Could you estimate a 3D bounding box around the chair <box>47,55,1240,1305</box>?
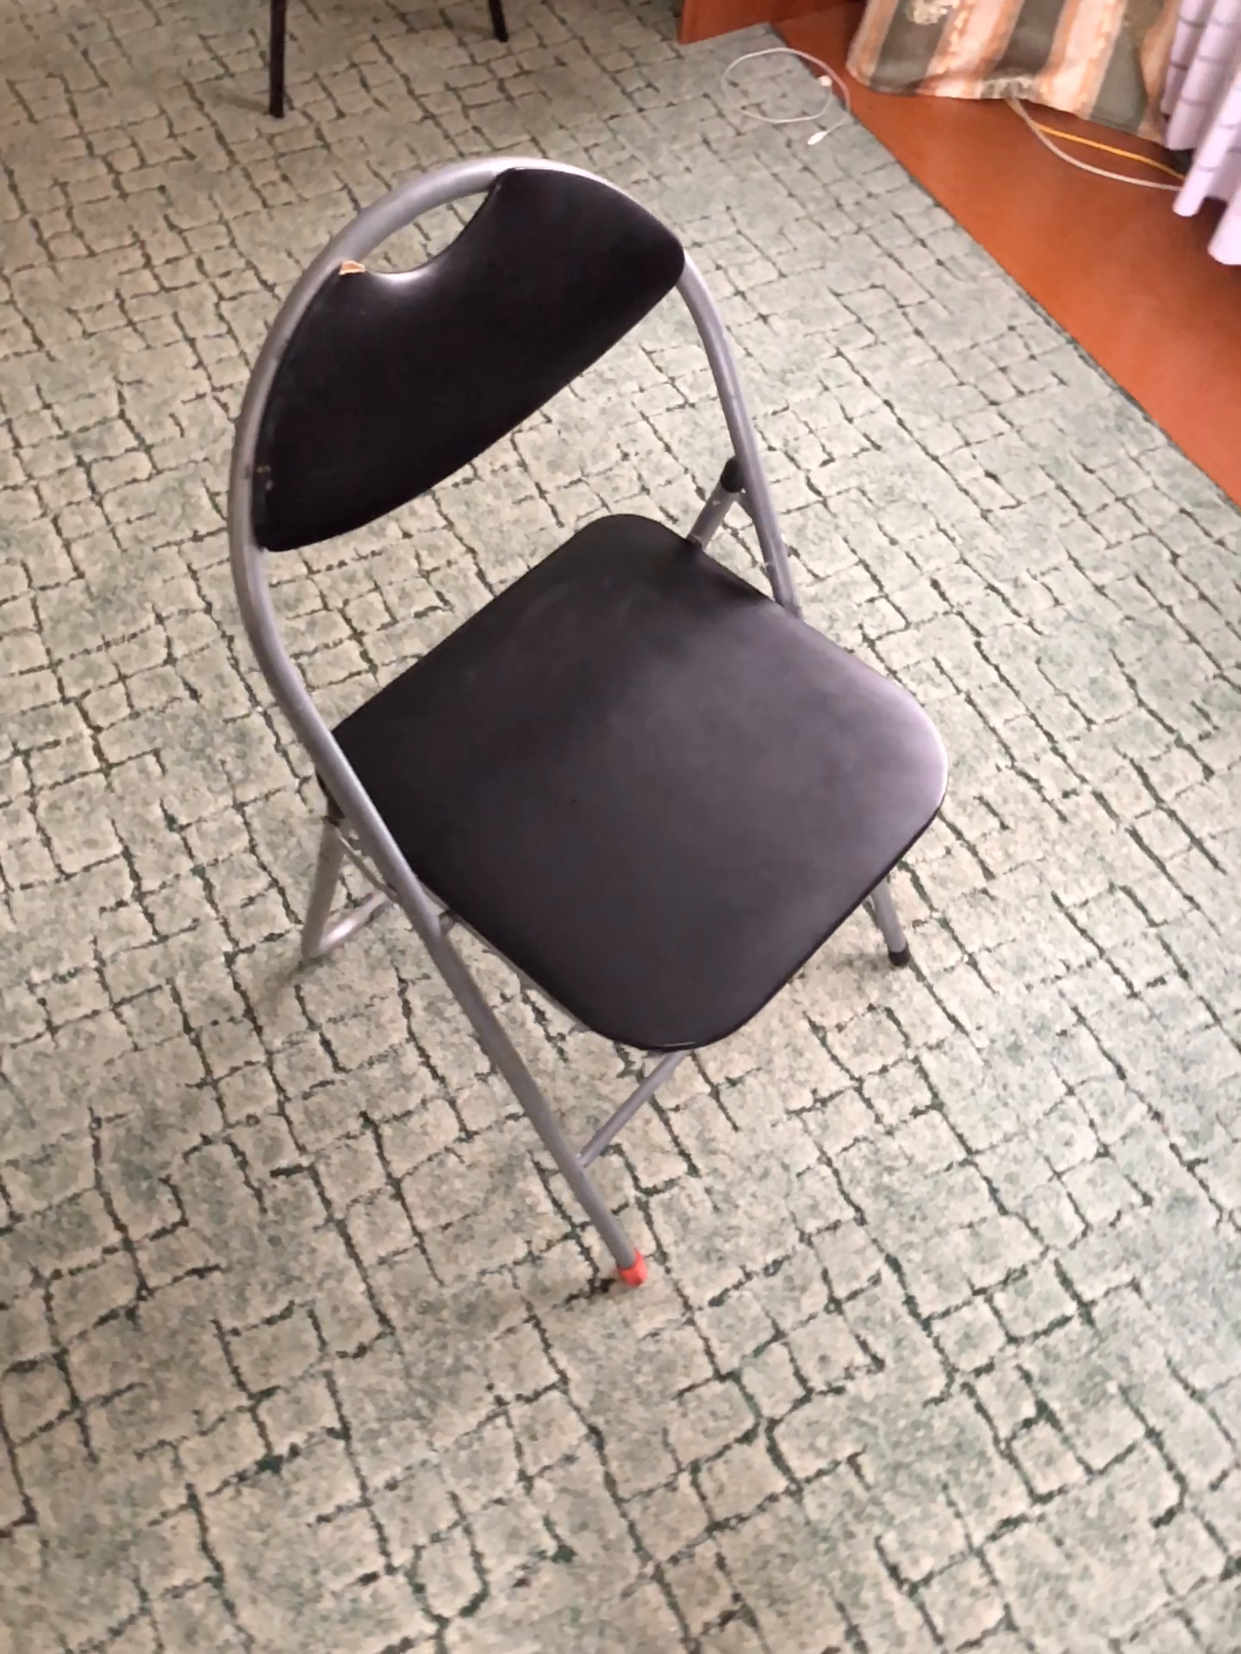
[{"bbox_3d":[0.004,-0.049,1.058,0.475,0.733,0.457,38,64,18],"label":"chair"}]
